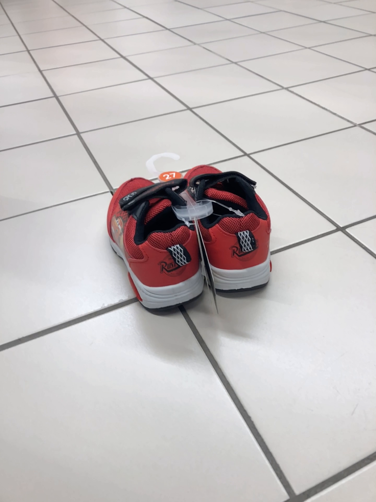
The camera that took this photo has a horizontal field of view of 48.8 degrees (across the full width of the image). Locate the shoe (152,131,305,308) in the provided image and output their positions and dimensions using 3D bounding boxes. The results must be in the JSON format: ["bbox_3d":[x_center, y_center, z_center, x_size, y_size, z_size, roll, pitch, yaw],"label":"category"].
[{"bbox_3d":[0.029,-0.045,0.427,0.087,0.073,0.195,-12,40,-10],"label":"shoe"}]

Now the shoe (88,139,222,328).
[{"bbox_3d":[-0.039,-0.030,0.413,0.087,0.074,0.195,-12,40,-10],"label":"shoe"}]
